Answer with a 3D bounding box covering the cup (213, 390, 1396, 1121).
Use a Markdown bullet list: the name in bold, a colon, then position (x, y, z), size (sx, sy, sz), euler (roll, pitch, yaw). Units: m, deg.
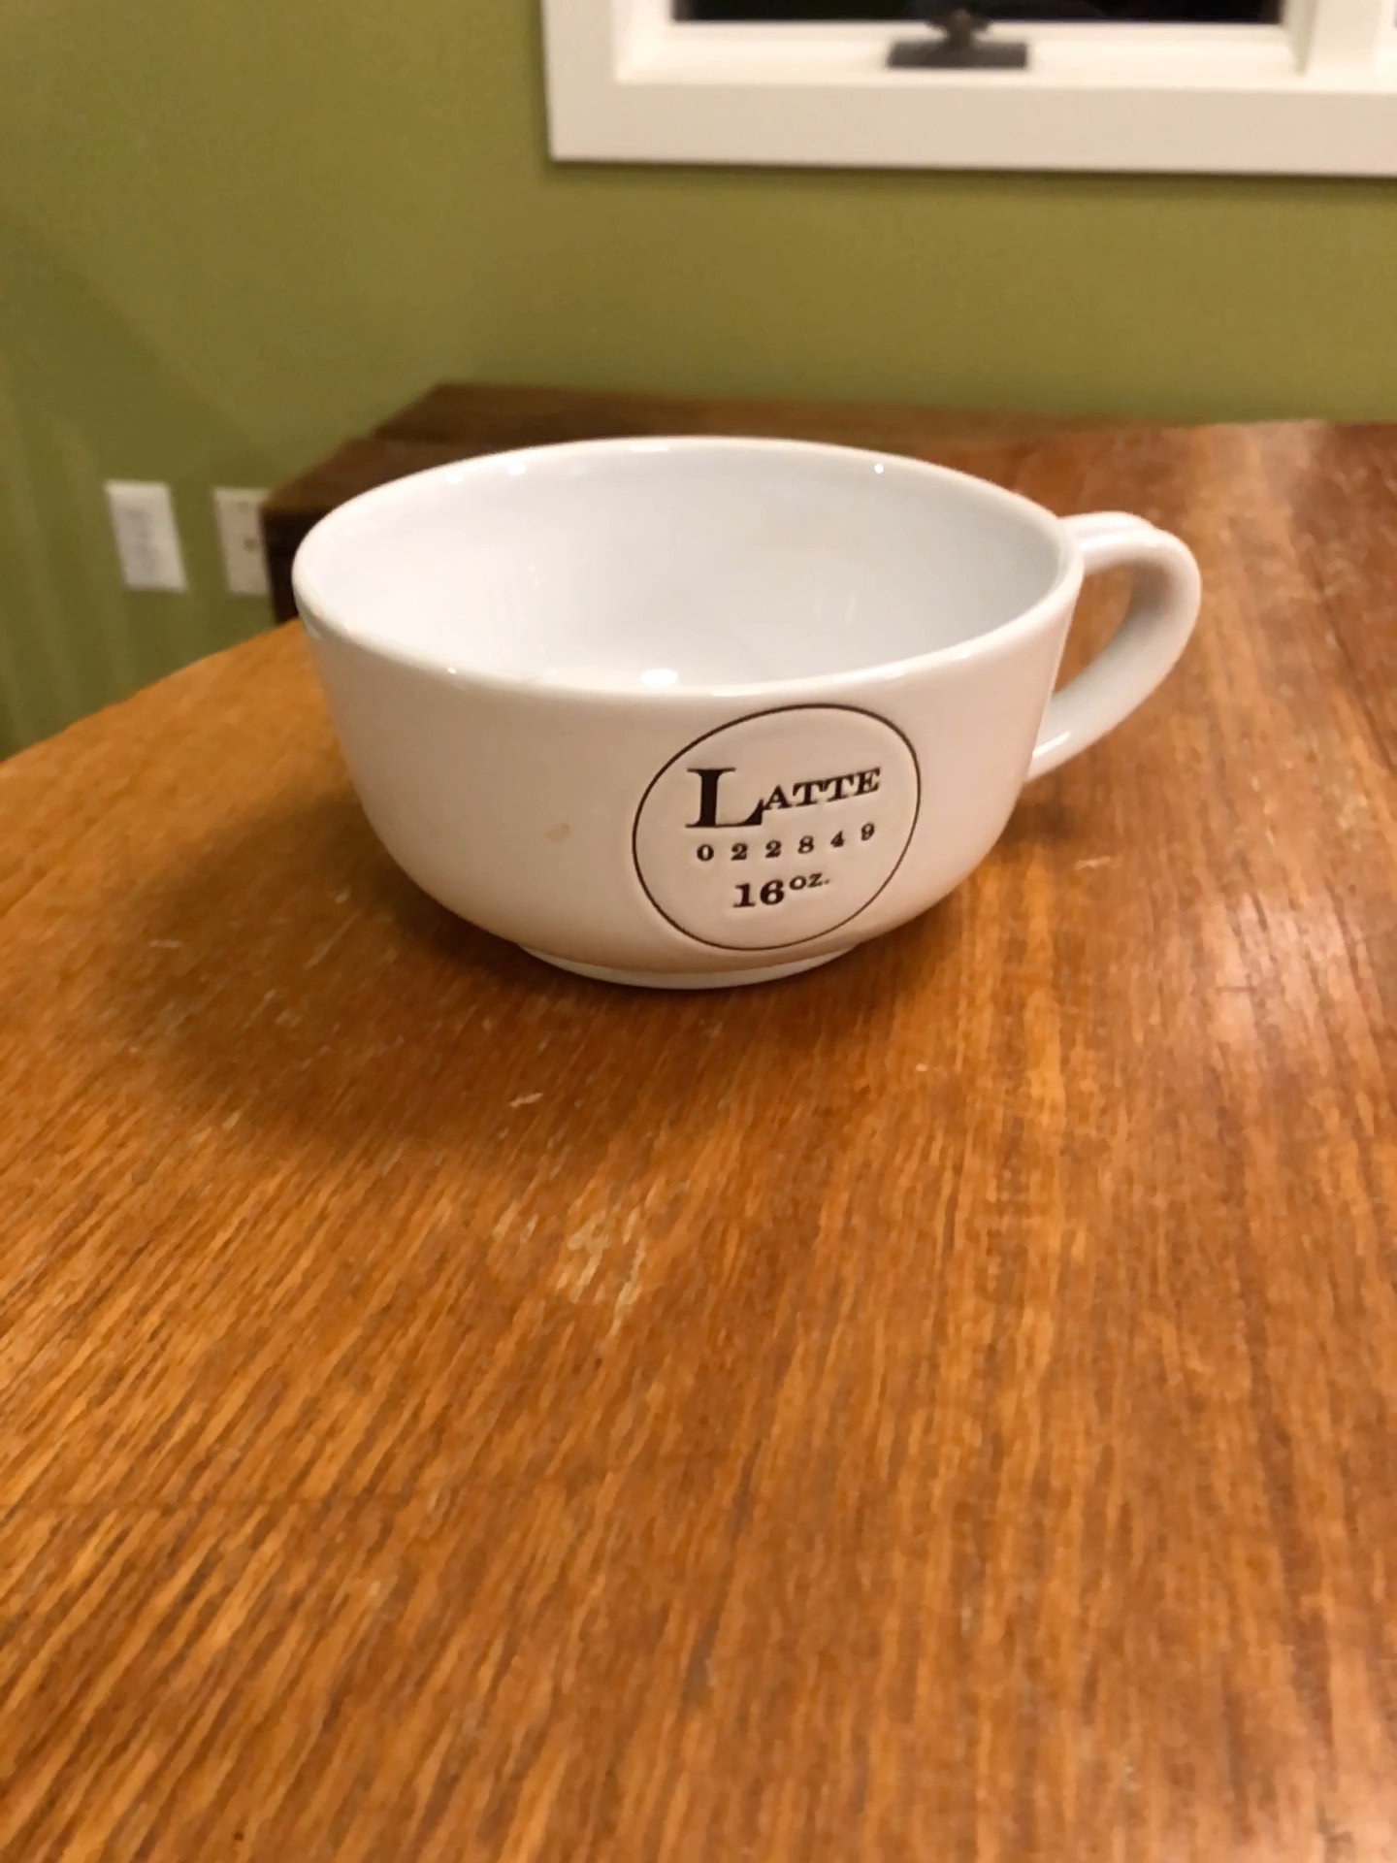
- **cup**: position (0.018, -0.050, 0.295), size (0.180, 0.055, 0.139), euler (-15, 34, -22)
